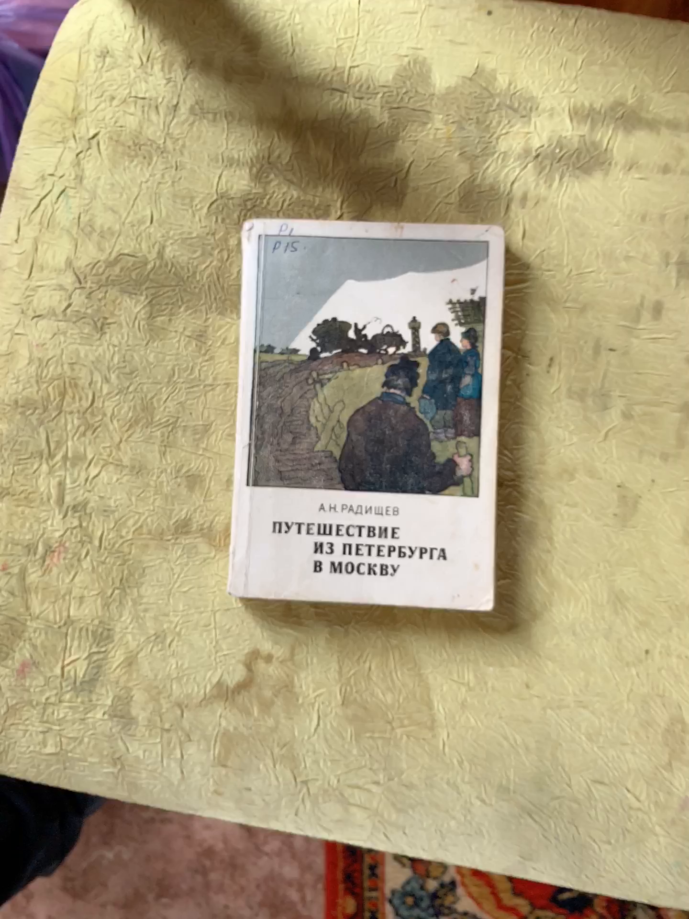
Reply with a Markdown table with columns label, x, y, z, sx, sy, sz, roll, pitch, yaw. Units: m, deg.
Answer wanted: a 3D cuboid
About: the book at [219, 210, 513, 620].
| label | x | y | z | sx | sy | sz | roll | pitch | yaw |
| --- | --- | --- | --- | --- | --- | --- | --- | --- | --- |
| book | 0.009 | -0.019 | 0.301 | 0.111 | 0.020 | 0.161 | 3 | 87 | 3 |
